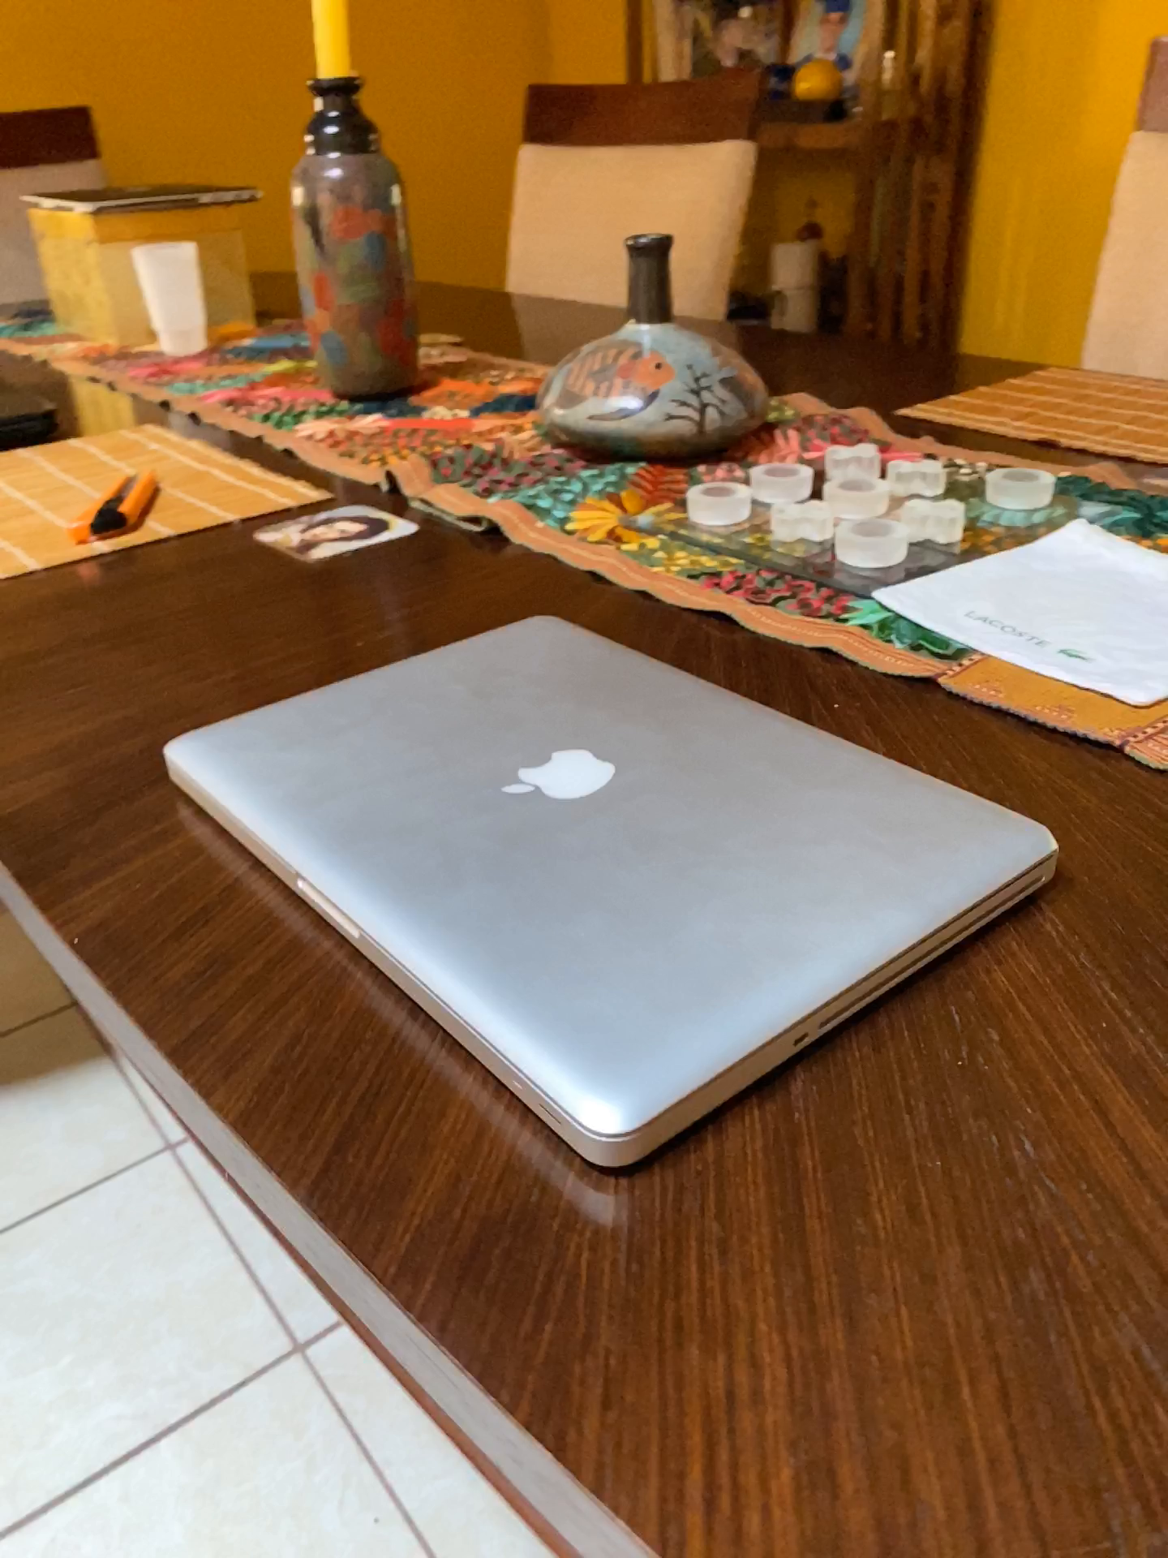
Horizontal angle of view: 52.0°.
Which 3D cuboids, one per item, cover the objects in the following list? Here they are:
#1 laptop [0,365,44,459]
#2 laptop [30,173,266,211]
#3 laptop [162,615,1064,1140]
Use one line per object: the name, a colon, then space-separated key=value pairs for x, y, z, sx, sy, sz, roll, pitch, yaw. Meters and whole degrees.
laptop: x=-0.762 y=-0.406 z=1.304 sx=0.254 sy=0.012 sz=0.302 roll=-21 pitch=36 yaw=-33
laptop: x=-0.600 y=-0.802 z=1.633 sx=0.215 sy=0.011 sz=0.309 roll=-23 pitch=36 yaw=-27
laptop: x=-0.006 y=0.004 z=0.514 sx=0.232 sy=0.002 sz=0.324 roll=-24 pitch=35 yaw=-32
